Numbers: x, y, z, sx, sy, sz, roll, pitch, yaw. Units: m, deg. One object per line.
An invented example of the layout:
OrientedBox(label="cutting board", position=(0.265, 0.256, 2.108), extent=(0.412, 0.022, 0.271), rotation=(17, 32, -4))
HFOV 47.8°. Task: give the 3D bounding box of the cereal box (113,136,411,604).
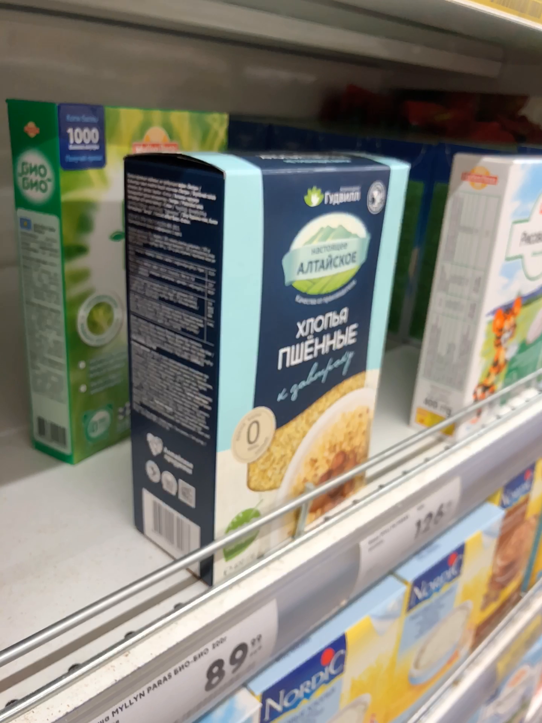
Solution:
OrientedBox(label="cereal box", position=(-0.004, -0.005, 0.310), extent=(0.060, 0.199, 0.130), rotation=(22, 28, 38))
